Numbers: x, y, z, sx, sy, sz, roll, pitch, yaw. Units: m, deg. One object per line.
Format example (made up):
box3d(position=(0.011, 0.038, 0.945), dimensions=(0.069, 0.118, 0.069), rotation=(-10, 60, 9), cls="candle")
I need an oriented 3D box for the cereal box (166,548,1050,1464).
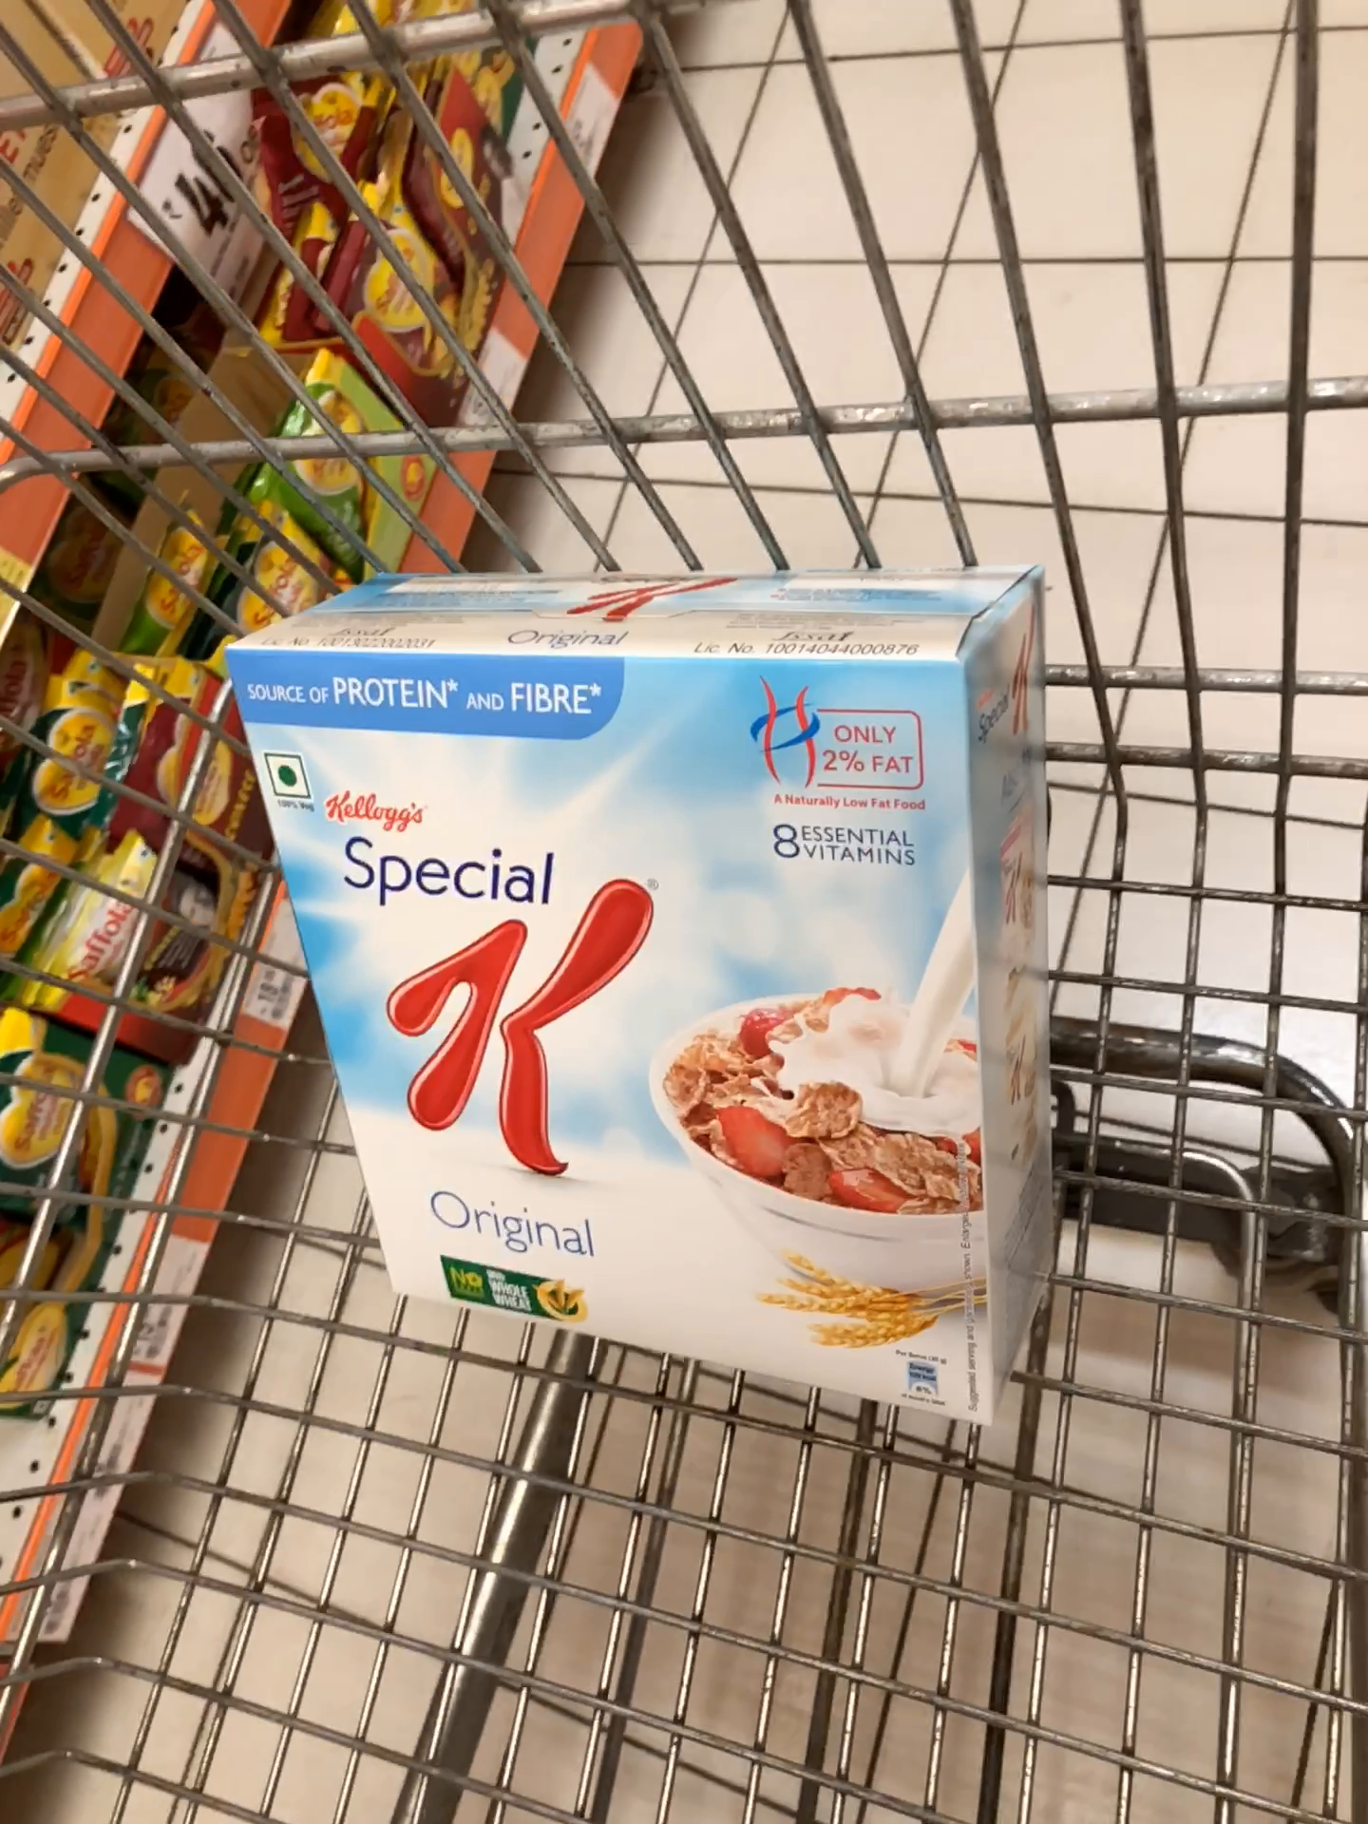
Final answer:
box3d(position=(-0.009, 0.020, 0.393), dimensions=(0.190, 0.209, 0.070), rotation=(5, 30, 23), cls="cereal box")
